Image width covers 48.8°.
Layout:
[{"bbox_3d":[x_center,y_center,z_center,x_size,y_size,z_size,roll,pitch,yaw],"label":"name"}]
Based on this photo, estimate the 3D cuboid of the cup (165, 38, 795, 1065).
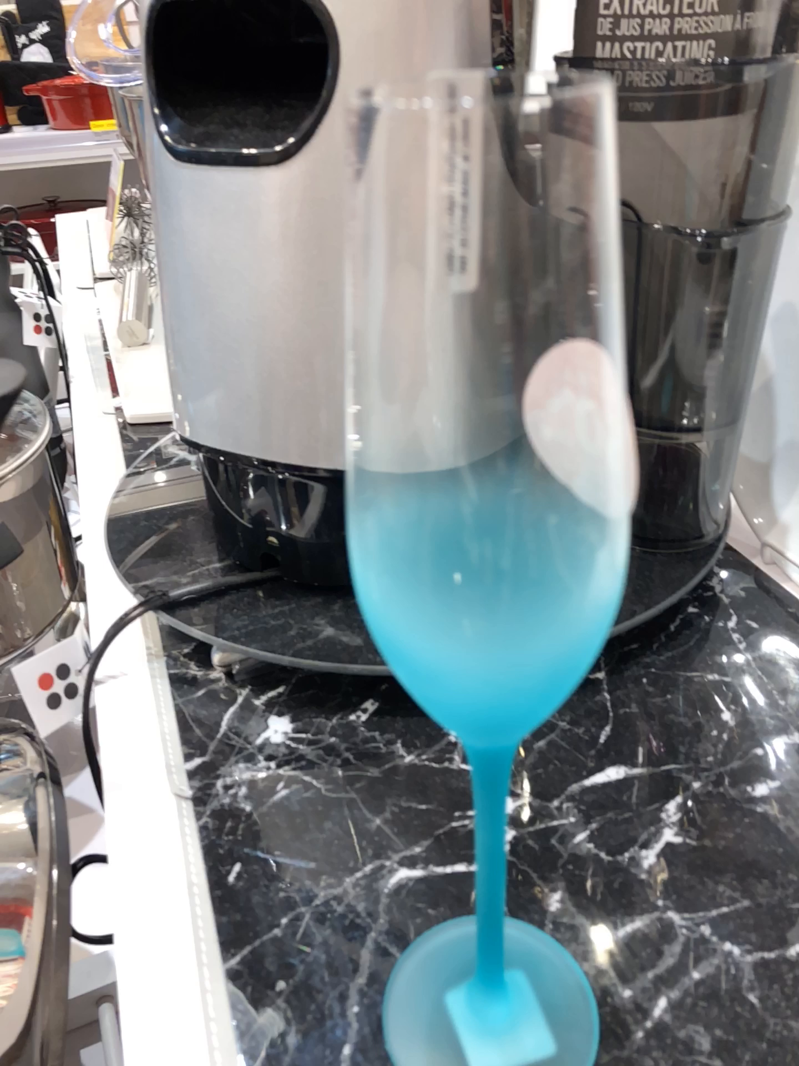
[{"bbox_3d":[0.015,0.034,0.190,0.070,0.239,0.070,-2,31,1],"label":"cup"}]
